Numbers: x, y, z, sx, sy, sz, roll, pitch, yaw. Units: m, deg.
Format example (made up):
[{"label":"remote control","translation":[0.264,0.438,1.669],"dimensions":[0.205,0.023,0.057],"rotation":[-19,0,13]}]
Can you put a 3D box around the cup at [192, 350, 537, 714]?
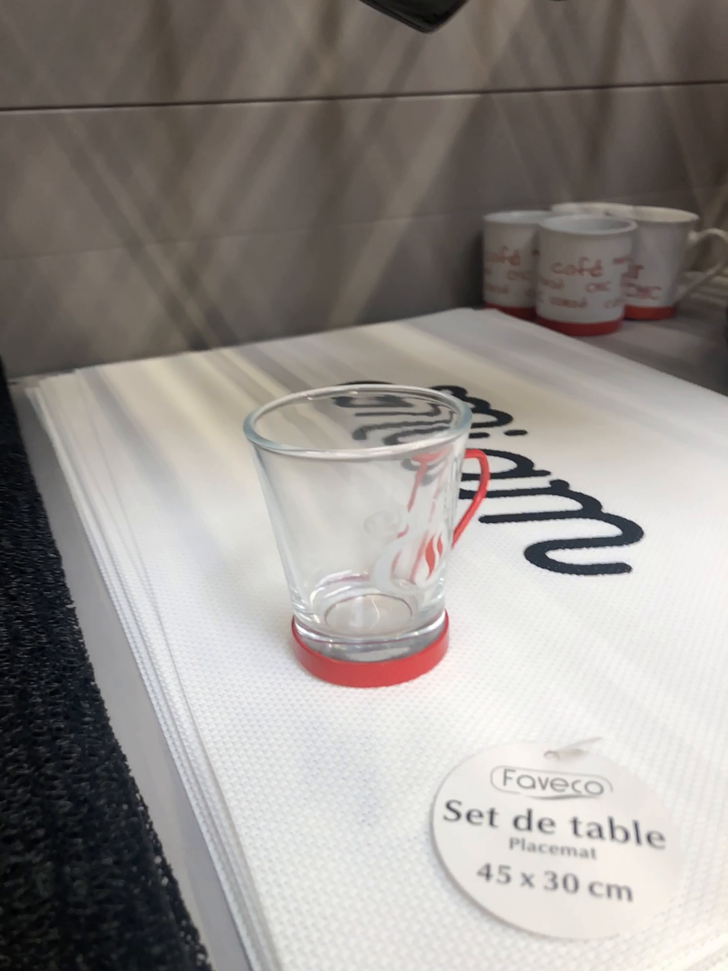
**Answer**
[{"label":"cup","translation":[0.008,0.004,0.229],"dimensions":[0.056,0.063,0.093],"rotation":[7,24,27]}]
